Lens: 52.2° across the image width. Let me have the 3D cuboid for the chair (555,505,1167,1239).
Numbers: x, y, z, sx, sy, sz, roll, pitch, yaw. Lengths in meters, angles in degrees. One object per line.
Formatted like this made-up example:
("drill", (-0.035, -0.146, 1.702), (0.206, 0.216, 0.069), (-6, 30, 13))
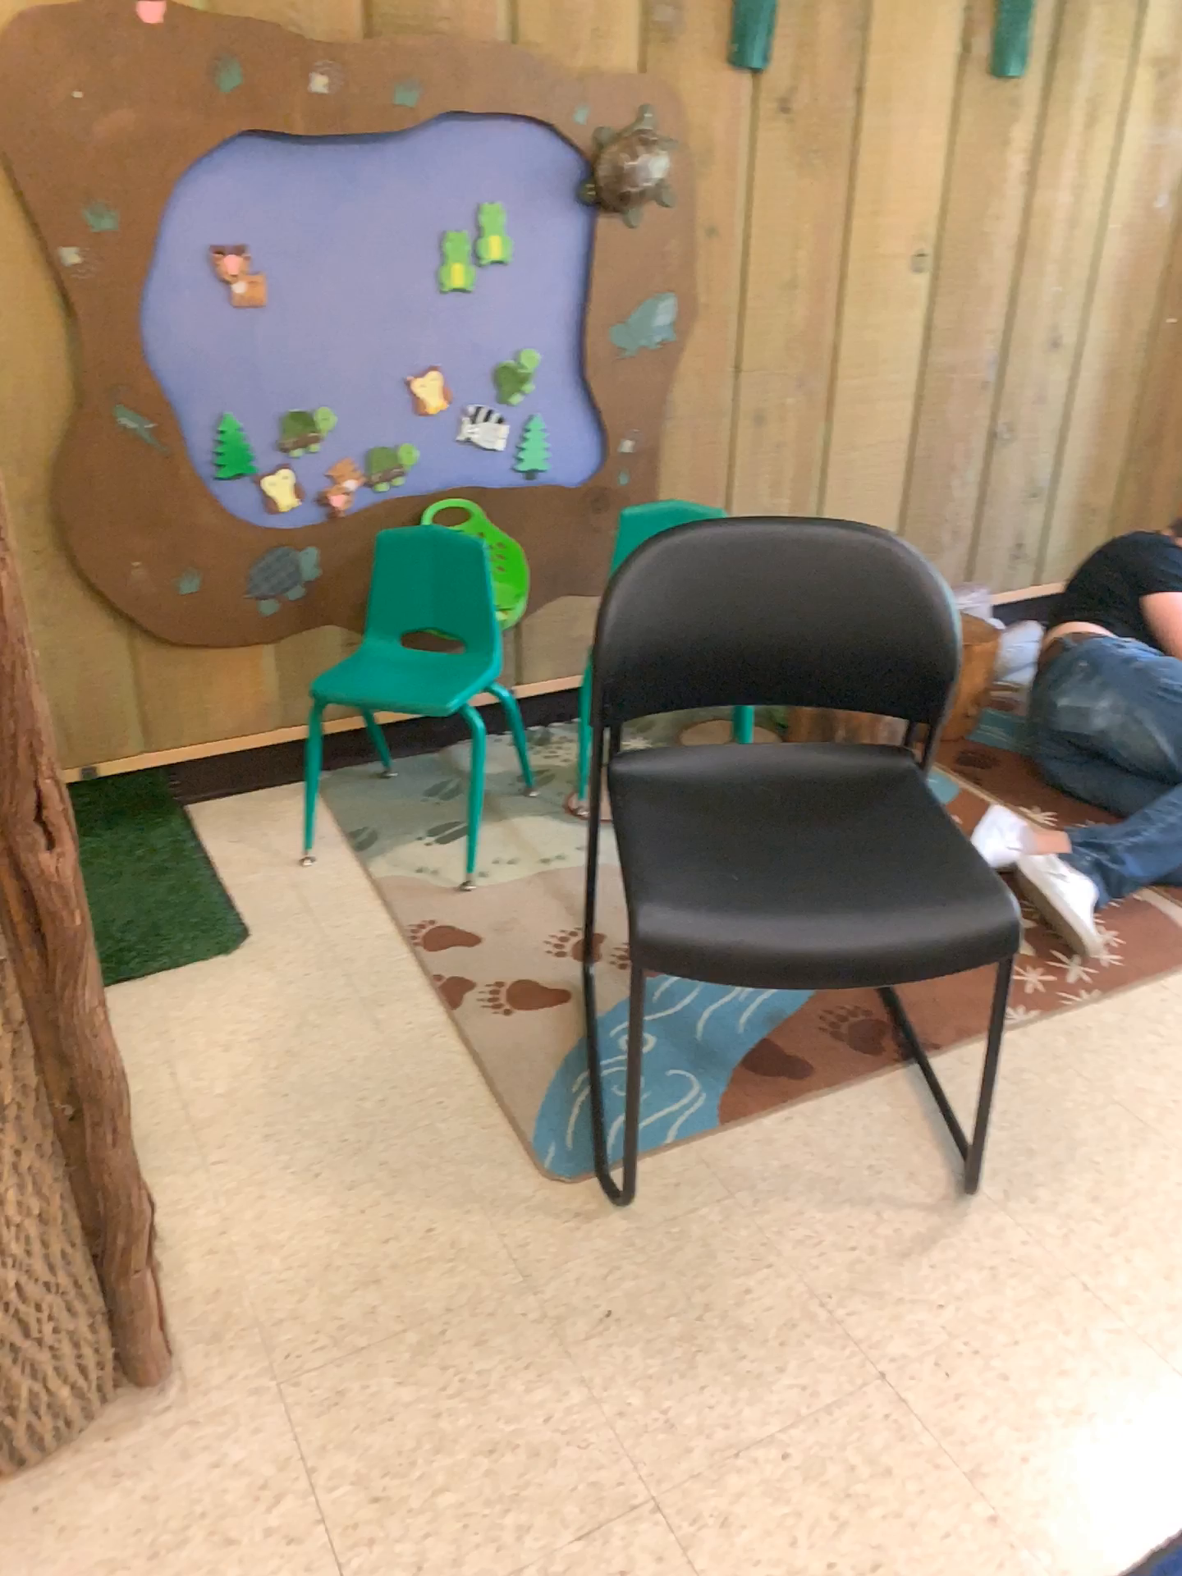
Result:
("chair", (0.259, 0.083, 1.620), (0.590, 0.785, 0.573), (-1, 27, -4))
